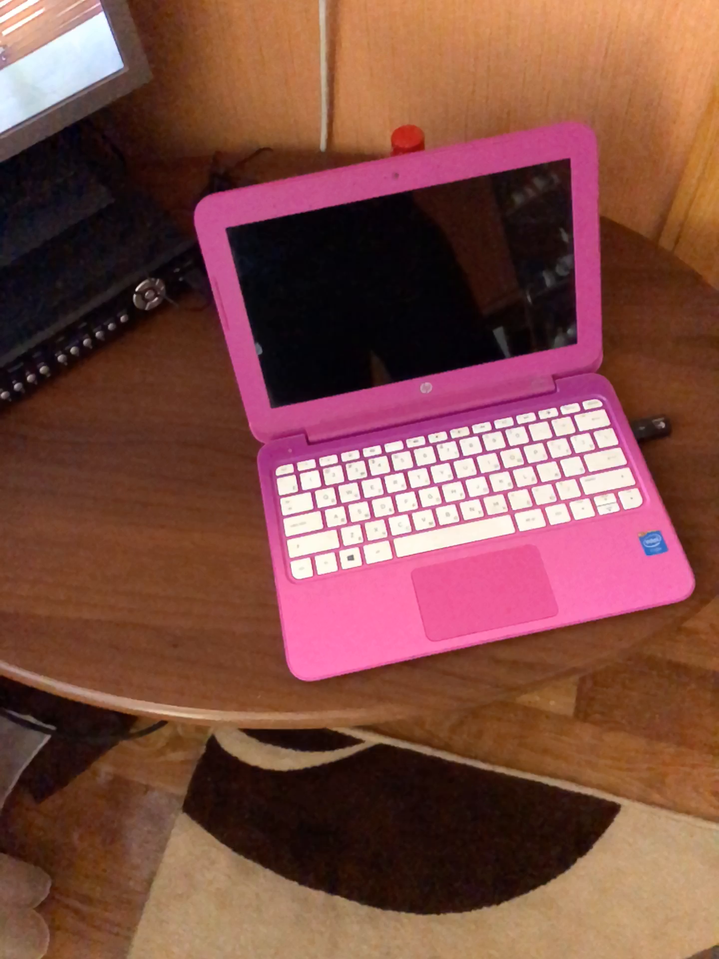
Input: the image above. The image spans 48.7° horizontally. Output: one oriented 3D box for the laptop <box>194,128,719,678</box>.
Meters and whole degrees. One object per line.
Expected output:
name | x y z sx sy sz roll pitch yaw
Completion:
laptop | 0.057 -0.056 0.544 0.279 0.150 0.296 -12 61 -1
